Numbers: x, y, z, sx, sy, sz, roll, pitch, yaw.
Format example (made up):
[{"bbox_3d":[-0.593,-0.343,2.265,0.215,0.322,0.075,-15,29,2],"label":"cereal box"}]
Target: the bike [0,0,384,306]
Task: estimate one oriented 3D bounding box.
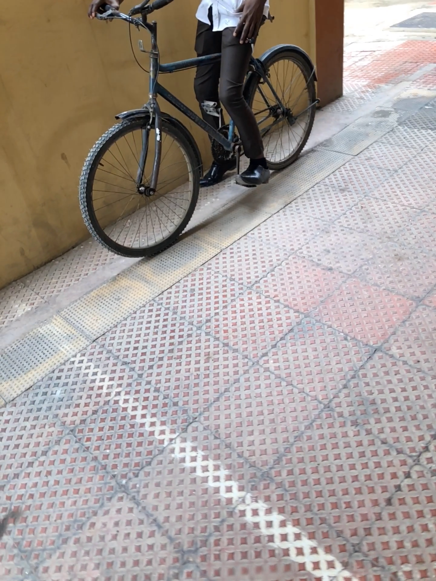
[{"bbox_3d":[0.059,-0.848,2.143,1.579,1.024,0.589,-34,44,-30],"label":"bike"}]
